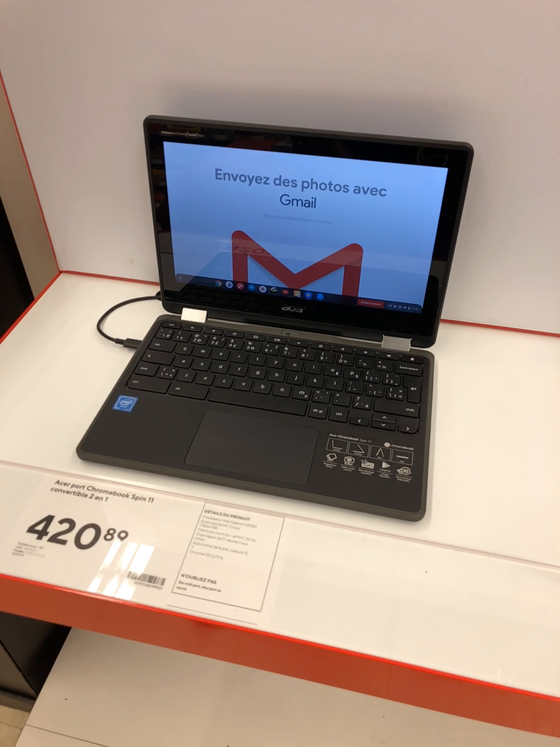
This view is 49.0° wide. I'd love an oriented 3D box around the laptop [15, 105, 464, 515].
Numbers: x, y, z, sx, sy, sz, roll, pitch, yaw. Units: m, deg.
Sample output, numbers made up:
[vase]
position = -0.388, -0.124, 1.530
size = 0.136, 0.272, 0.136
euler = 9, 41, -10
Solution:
[laptop]
position = -0.008, -0.070, 0.534
size = 0.289, 0.198, 0.253
euler = 8, 45, 9
